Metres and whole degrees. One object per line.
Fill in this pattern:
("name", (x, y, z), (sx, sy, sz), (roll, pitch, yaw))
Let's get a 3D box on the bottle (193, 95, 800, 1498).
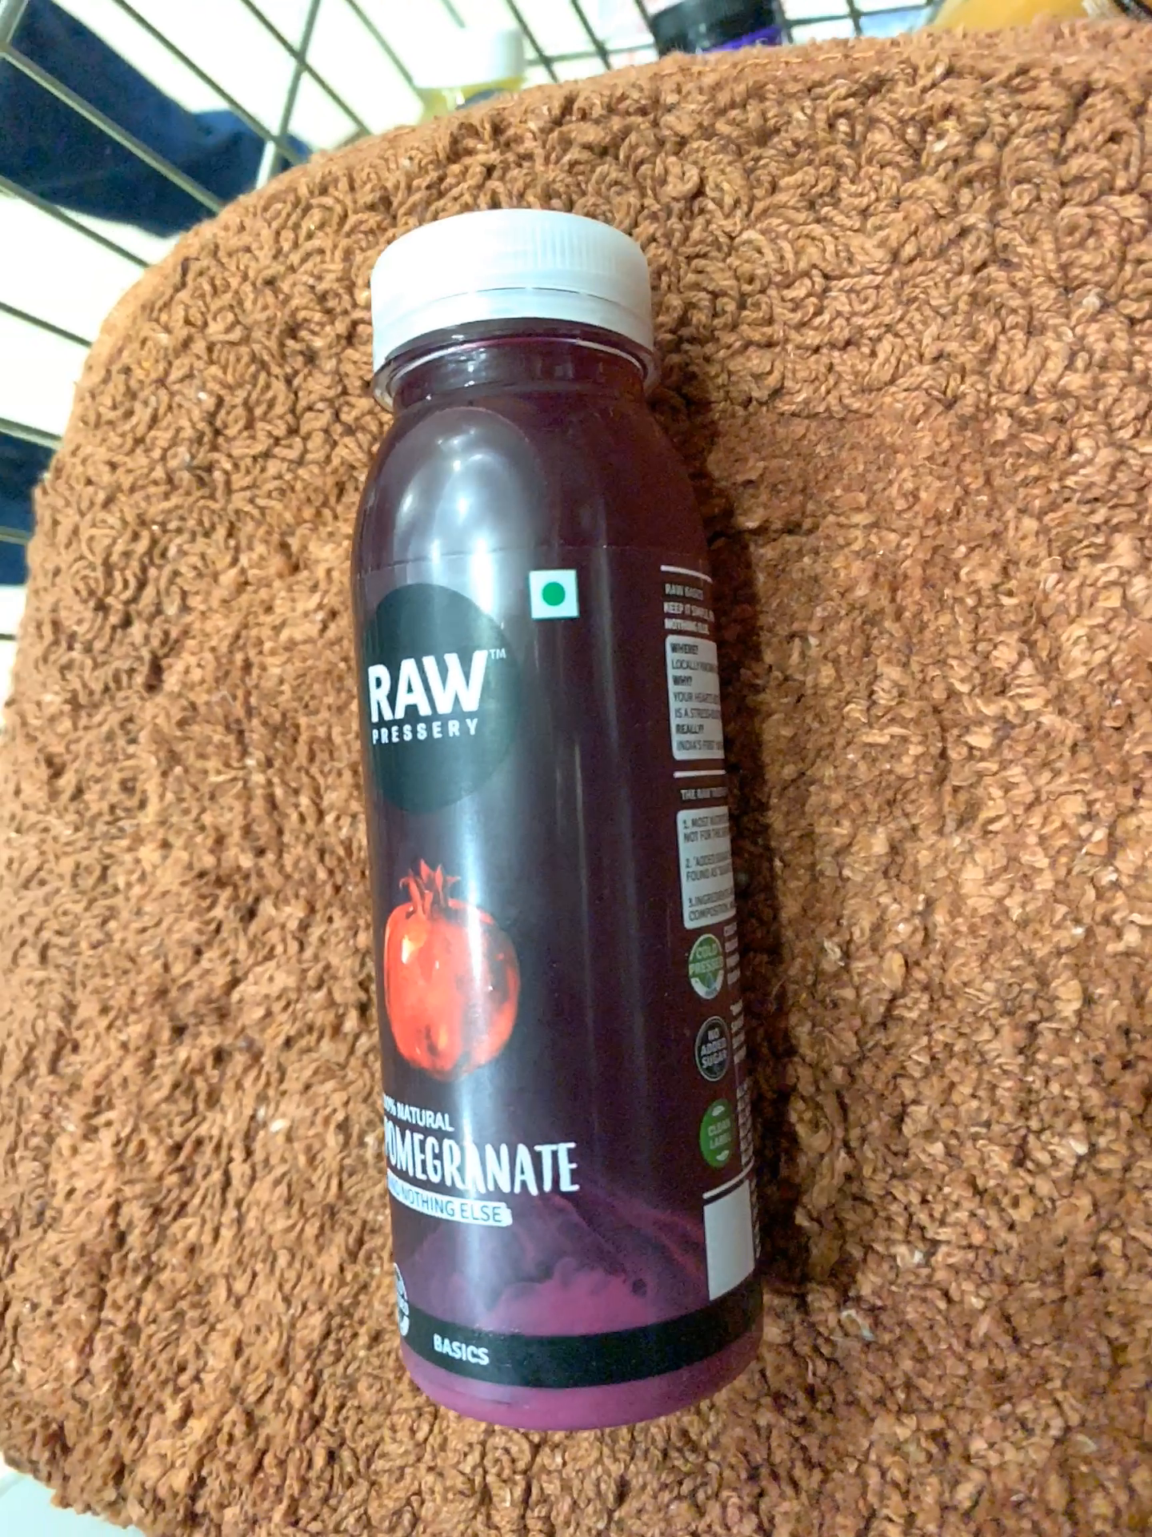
("bottle", (-0.006, 0.005, 0.148), (0.050, 0.040, 0.140), (-2, 96, 26))
